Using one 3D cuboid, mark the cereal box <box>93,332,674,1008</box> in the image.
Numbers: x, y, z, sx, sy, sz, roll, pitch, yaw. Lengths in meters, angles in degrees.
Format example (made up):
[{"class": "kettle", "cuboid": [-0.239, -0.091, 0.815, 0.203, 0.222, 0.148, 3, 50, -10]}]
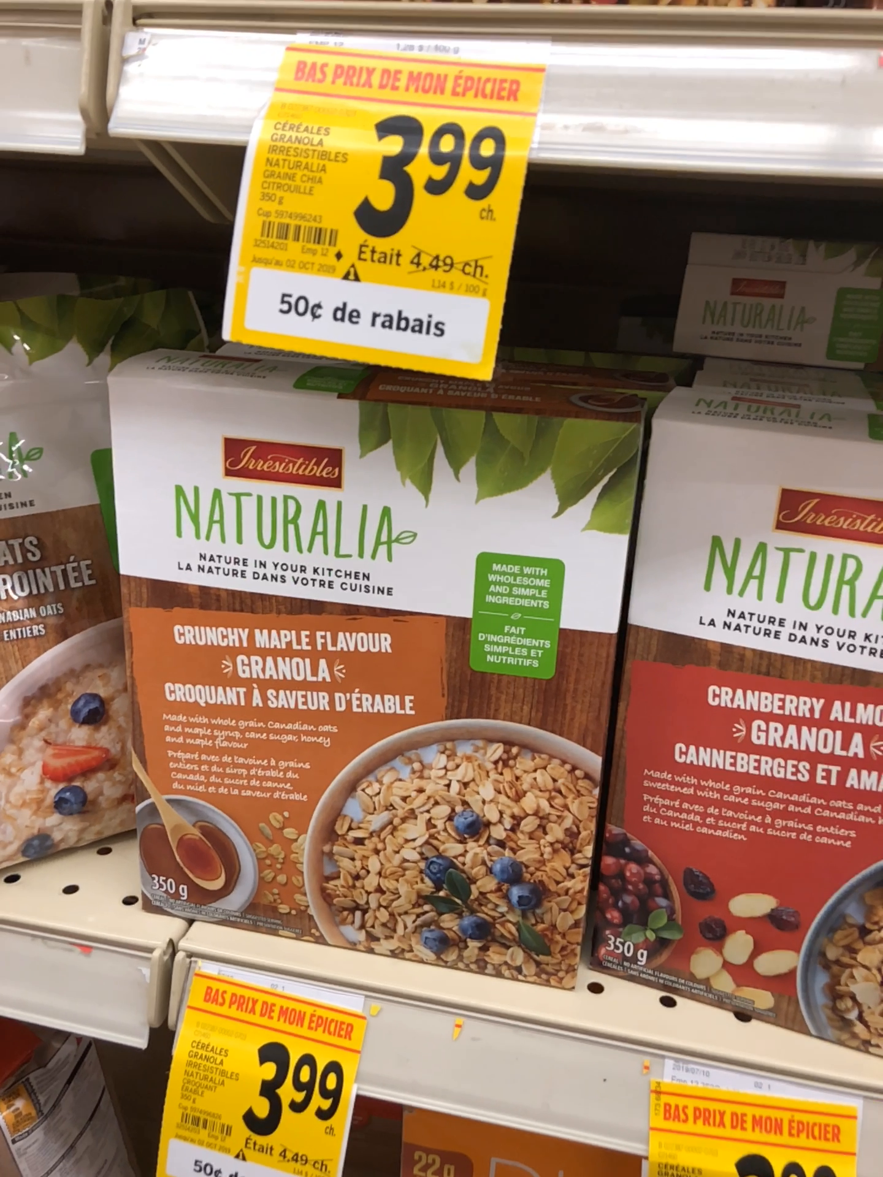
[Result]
[{"class": "cereal box", "cuboid": [-0.021, 0.028, 0.336, 0.170, 0.209, 0.050, 7, 21, 10]}]
